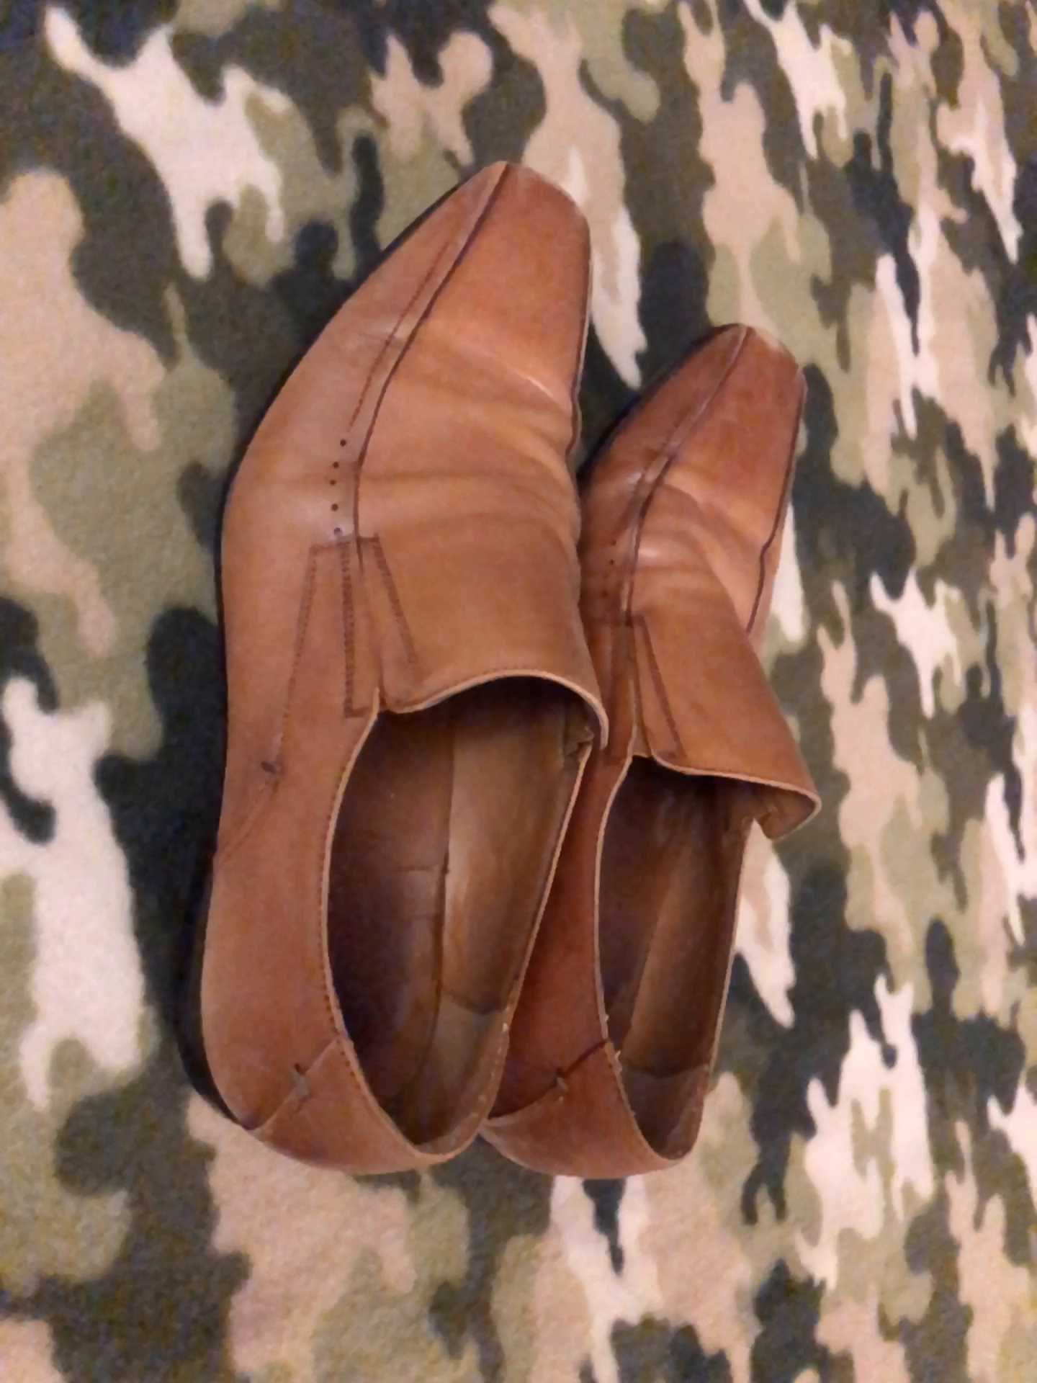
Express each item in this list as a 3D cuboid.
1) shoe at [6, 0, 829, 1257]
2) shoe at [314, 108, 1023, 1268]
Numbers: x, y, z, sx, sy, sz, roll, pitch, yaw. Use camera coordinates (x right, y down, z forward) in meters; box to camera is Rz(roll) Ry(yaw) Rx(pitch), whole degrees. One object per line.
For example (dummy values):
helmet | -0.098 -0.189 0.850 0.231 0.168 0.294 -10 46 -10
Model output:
shoe | -0.019 -0.036 0.314 0.110 0.119 0.320 22 73 -35
shoe | 0.059 -0.006 0.379 0.110 0.119 0.320 28 69 -33
